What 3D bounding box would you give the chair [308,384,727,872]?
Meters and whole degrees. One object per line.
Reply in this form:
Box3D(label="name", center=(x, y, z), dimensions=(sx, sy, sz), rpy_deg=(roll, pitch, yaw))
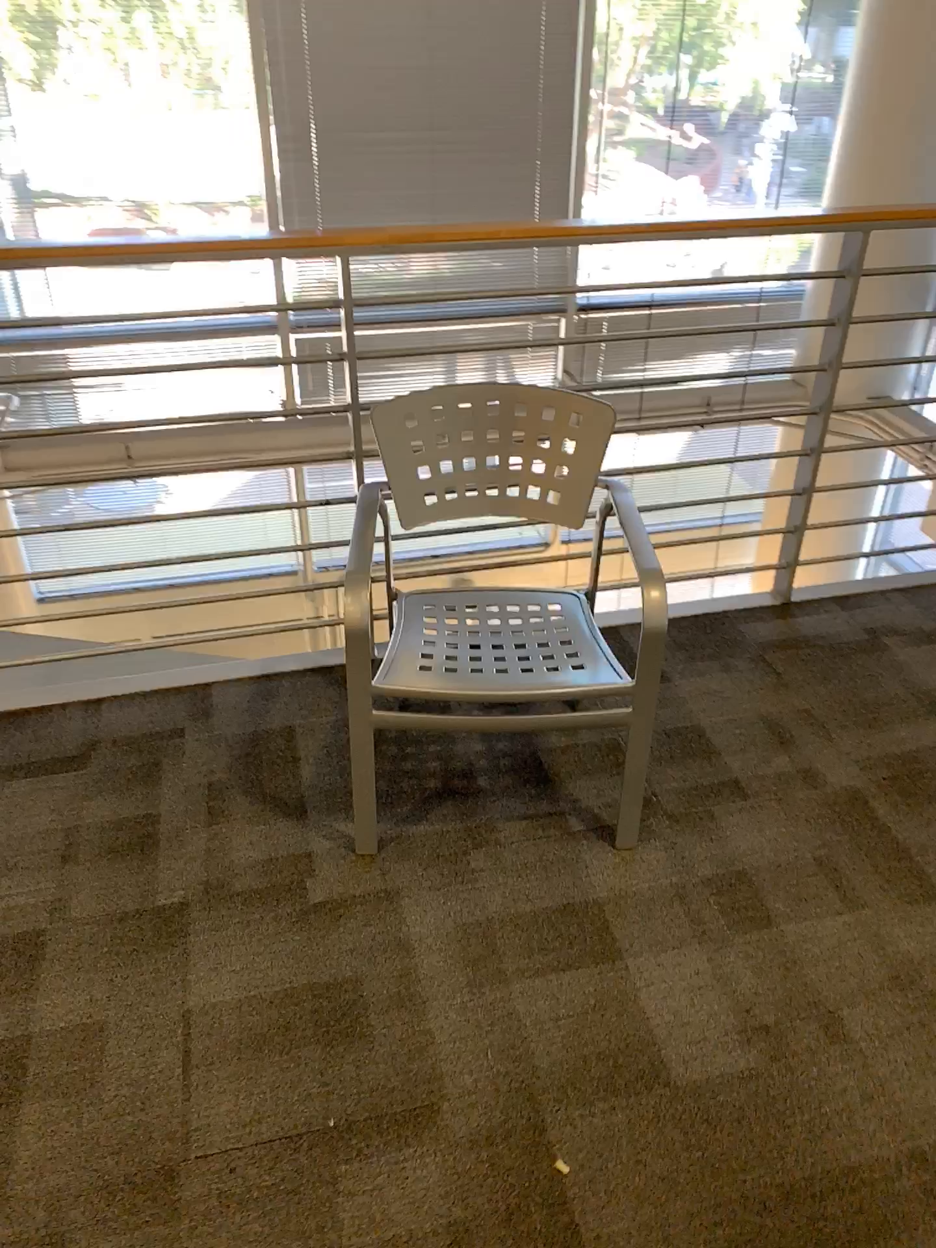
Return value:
Box3D(label="chair", center=(0.048, -0.018, 2.032), dimensions=(0.680, 0.755, 0.684), rpy_deg=(-2, 34, -5))
